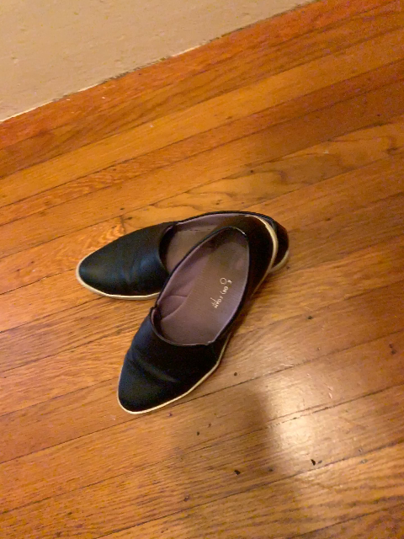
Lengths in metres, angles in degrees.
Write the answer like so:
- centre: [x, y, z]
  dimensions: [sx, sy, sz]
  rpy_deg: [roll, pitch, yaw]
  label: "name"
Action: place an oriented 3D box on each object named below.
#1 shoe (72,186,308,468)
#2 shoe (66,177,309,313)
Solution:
- centre: [-0.014, 0.057, 0.418]
  dimensions: [0.100, 0.080, 0.250]
  rpy_deg: [37, 103, 20]
  label: "shoe"
- centre: [-0.018, -0.023, 0.486]
  dimensions: [0.260, 0.080, 0.100]
  rpy_deg: [-8, 70, 8]
  label: "shoe"
